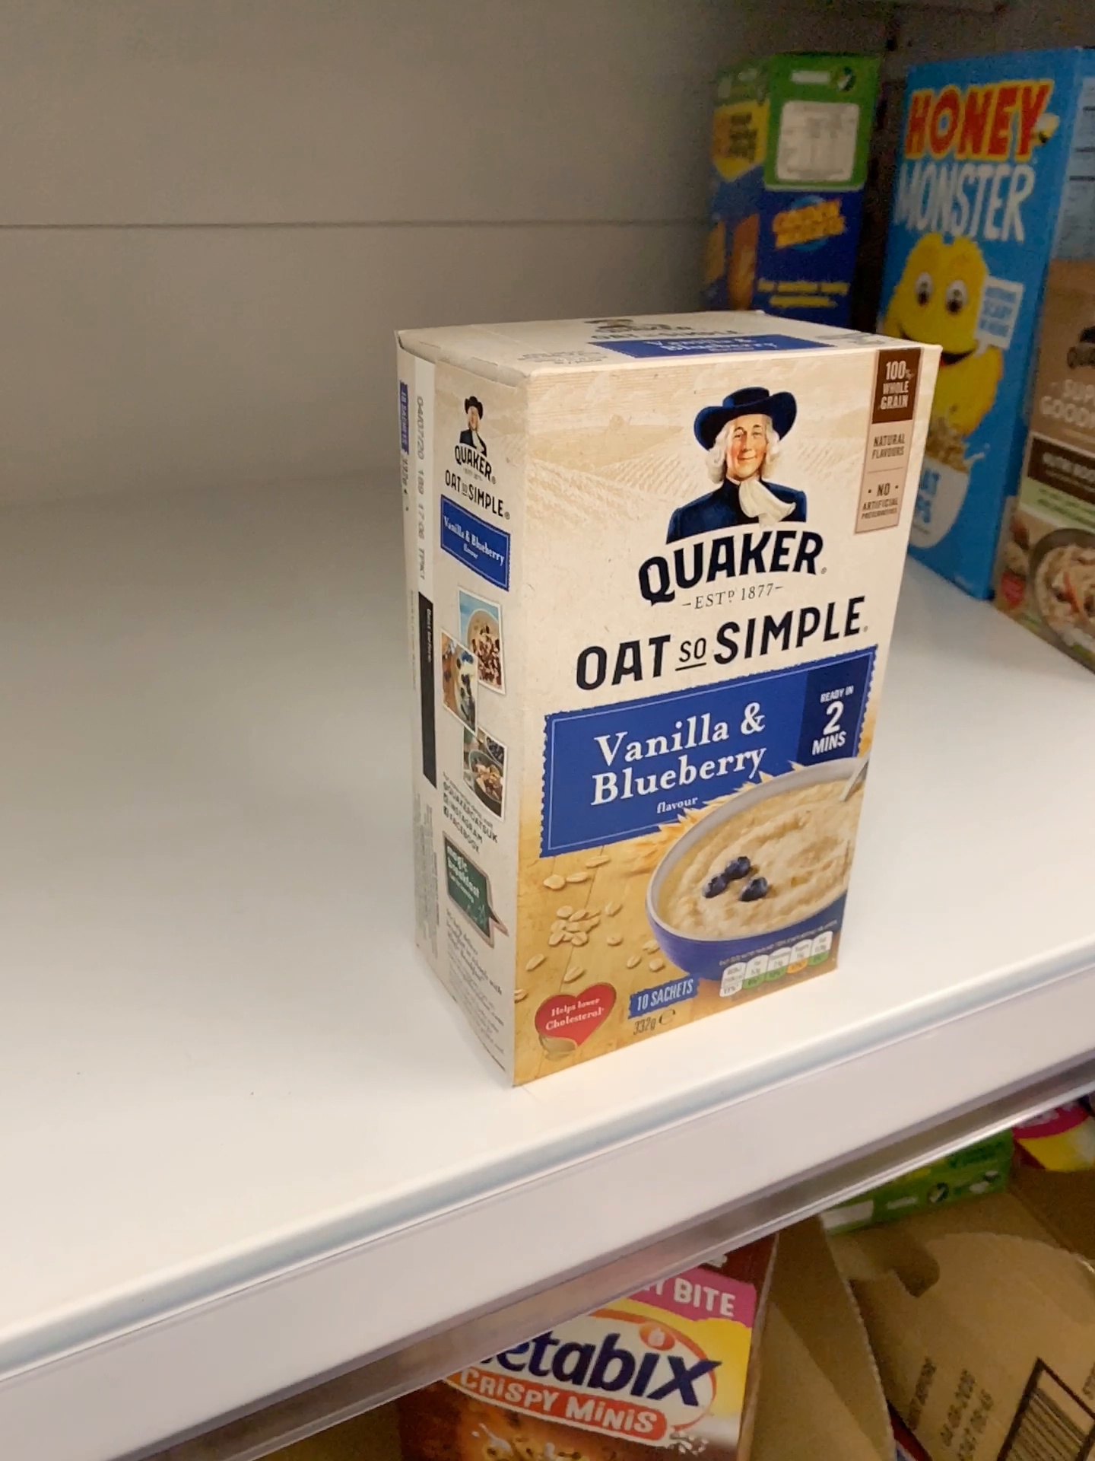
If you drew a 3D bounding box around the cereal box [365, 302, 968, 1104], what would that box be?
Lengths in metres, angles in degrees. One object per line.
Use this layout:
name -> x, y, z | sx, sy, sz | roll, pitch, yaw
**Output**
cereal box -> 0.029, -0.014, 0.350 | 0.140, 0.208, 0.080 | -12, 29, -26
